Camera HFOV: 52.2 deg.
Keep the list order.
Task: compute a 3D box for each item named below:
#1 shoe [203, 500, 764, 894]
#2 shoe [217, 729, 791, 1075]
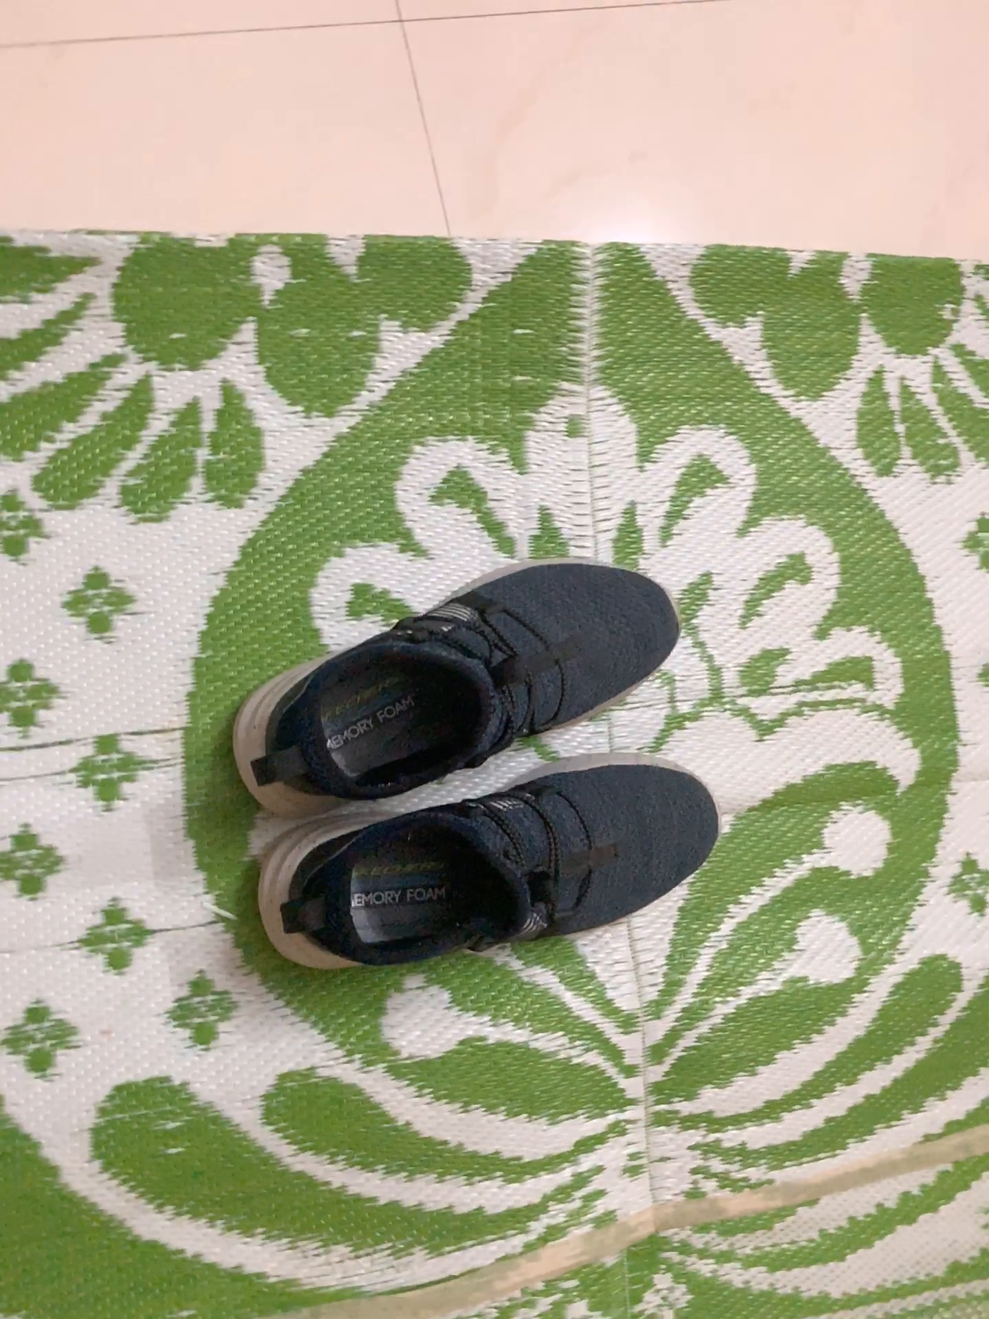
[{"bbox_3d":[-0.007,0.016,0.592,0.290,0.100,0.110,-23,93,-14],"label":"shoe"},{"bbox_3d":[0.004,0.126,0.588,0.300,0.100,0.110,-11,90,-14],"label":"shoe"}]
